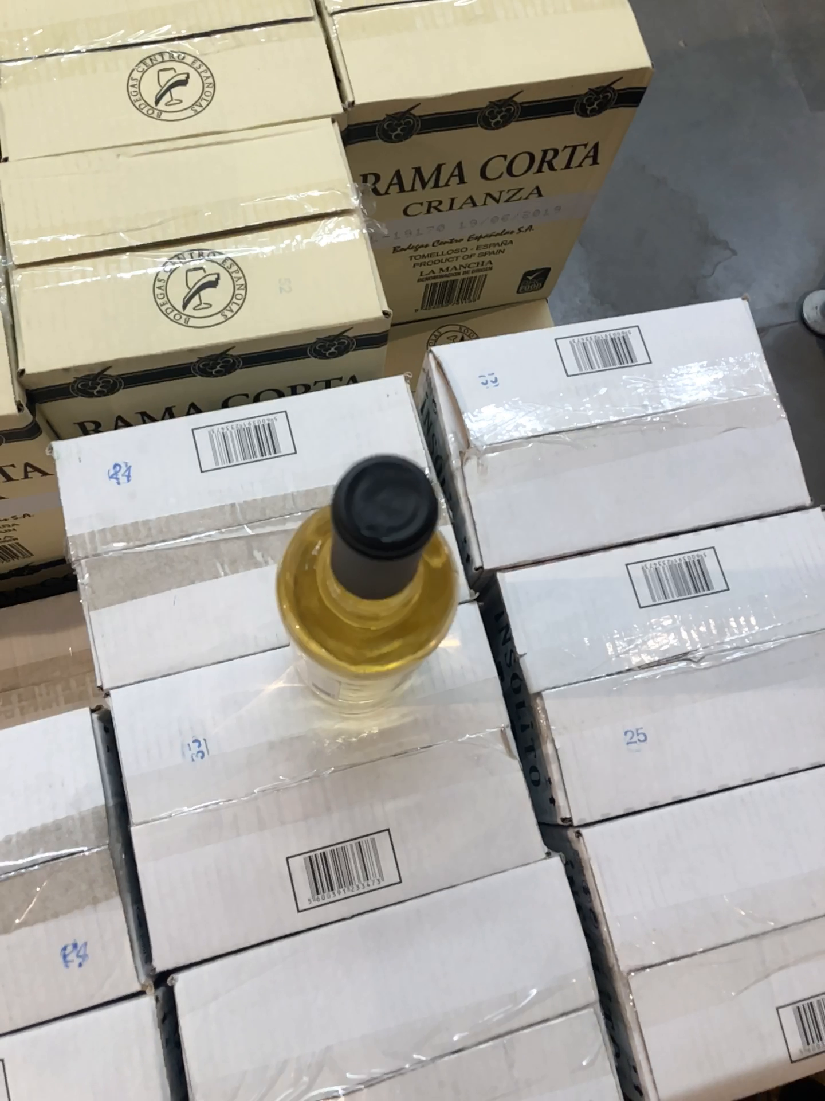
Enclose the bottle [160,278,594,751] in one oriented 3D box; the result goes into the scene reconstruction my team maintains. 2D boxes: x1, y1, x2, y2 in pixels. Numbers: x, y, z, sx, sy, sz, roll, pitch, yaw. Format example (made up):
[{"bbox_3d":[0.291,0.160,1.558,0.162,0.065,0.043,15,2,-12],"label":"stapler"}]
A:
[{"bbox_3d":[-0.024,0.017,0.385,0.090,0.299,0.090,1,74,-5],"label":"bottle"}]
